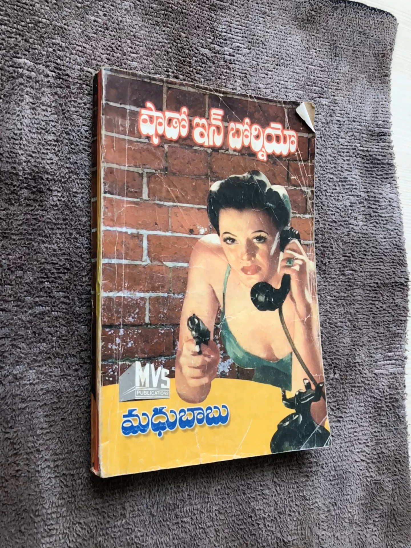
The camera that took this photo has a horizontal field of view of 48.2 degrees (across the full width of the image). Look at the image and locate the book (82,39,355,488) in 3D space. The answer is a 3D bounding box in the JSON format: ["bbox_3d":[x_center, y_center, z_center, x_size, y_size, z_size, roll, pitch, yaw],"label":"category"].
[{"bbox_3d":[0.005,-0.004,0.190,0.100,0.040,0.150,2,82,-25],"label":"book"}]
